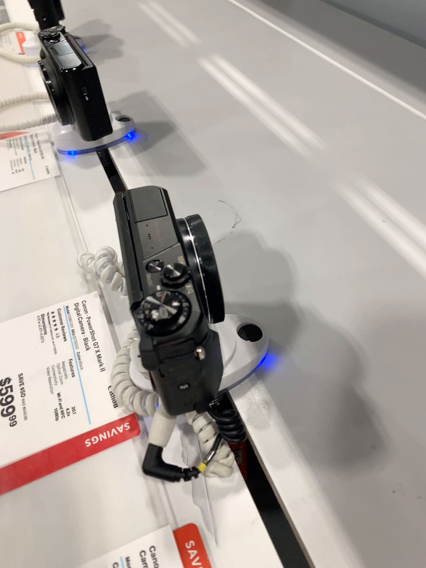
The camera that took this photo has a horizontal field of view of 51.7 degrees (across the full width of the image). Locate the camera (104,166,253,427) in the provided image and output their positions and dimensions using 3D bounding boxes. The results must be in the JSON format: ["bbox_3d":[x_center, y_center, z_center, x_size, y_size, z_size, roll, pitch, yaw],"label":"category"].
[{"bbox_3d":[-0.019,0.001,0.218,0.044,0.060,0.111,-14,48,-6],"label":"camera"}]
